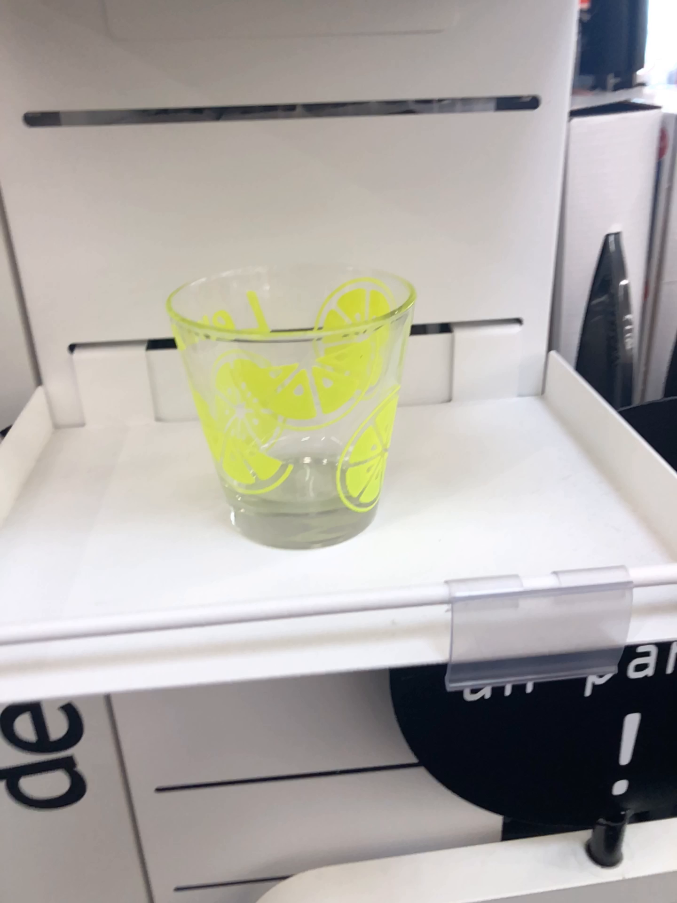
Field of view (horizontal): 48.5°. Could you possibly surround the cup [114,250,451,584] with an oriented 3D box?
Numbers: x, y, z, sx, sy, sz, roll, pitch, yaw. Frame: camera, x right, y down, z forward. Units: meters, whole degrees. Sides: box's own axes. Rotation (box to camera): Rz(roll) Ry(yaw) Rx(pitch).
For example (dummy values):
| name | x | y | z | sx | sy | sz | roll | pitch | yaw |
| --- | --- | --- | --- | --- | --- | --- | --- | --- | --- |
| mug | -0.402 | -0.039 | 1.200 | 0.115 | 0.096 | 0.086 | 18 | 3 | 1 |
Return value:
| name | x | y | z | sx | sy | sz | roll | pitch | yaw |
| --- | --- | --- | --- | --- | --- | --- | --- | --- | --- |
| cup | -0.020 | -0.019 | 0.259 | 0.080 | 0.075 | 0.084 | -1 | 26 | 1 |
